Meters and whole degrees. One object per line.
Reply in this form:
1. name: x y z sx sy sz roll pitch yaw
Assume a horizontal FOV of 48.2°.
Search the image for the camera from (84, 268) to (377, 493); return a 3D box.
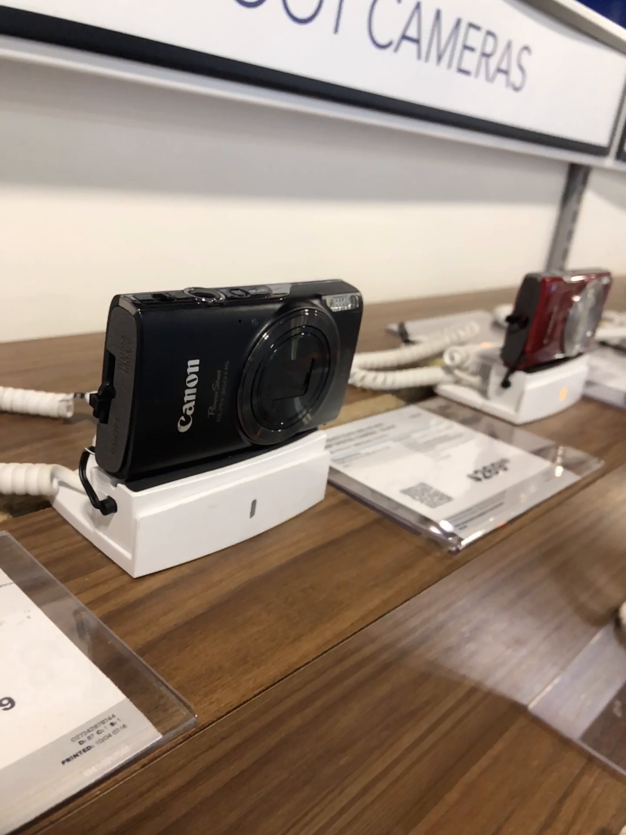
1. camera: -0.025 -0.018 0.239 0.030 0.056 0.100 23 26 36
